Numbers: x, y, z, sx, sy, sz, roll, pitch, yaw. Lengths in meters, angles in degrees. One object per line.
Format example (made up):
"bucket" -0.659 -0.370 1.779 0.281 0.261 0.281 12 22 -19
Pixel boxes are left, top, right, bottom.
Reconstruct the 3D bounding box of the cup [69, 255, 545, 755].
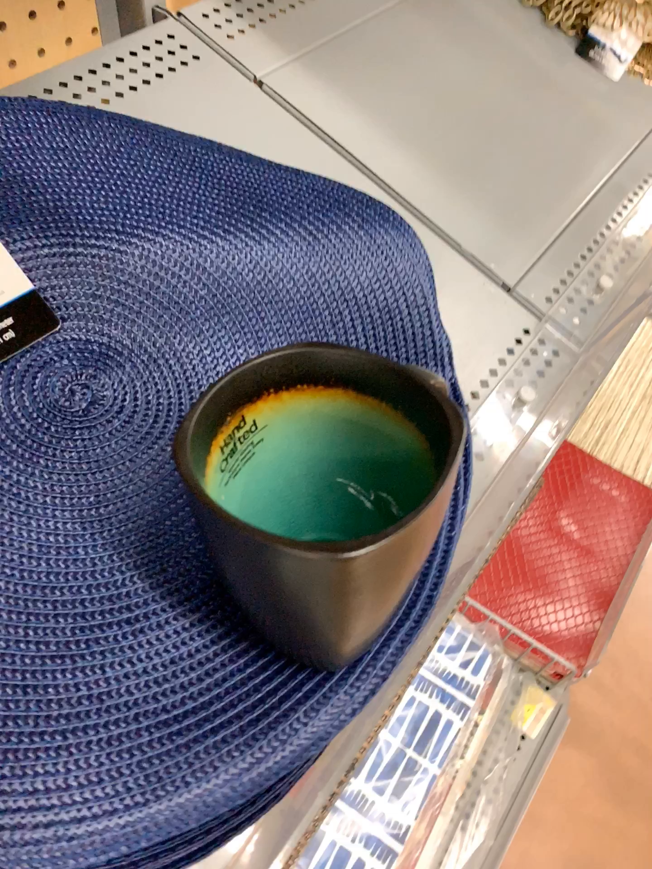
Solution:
"cup" -0.002 0.024 0.258 0.090 0.110 0.130 34 57 25
